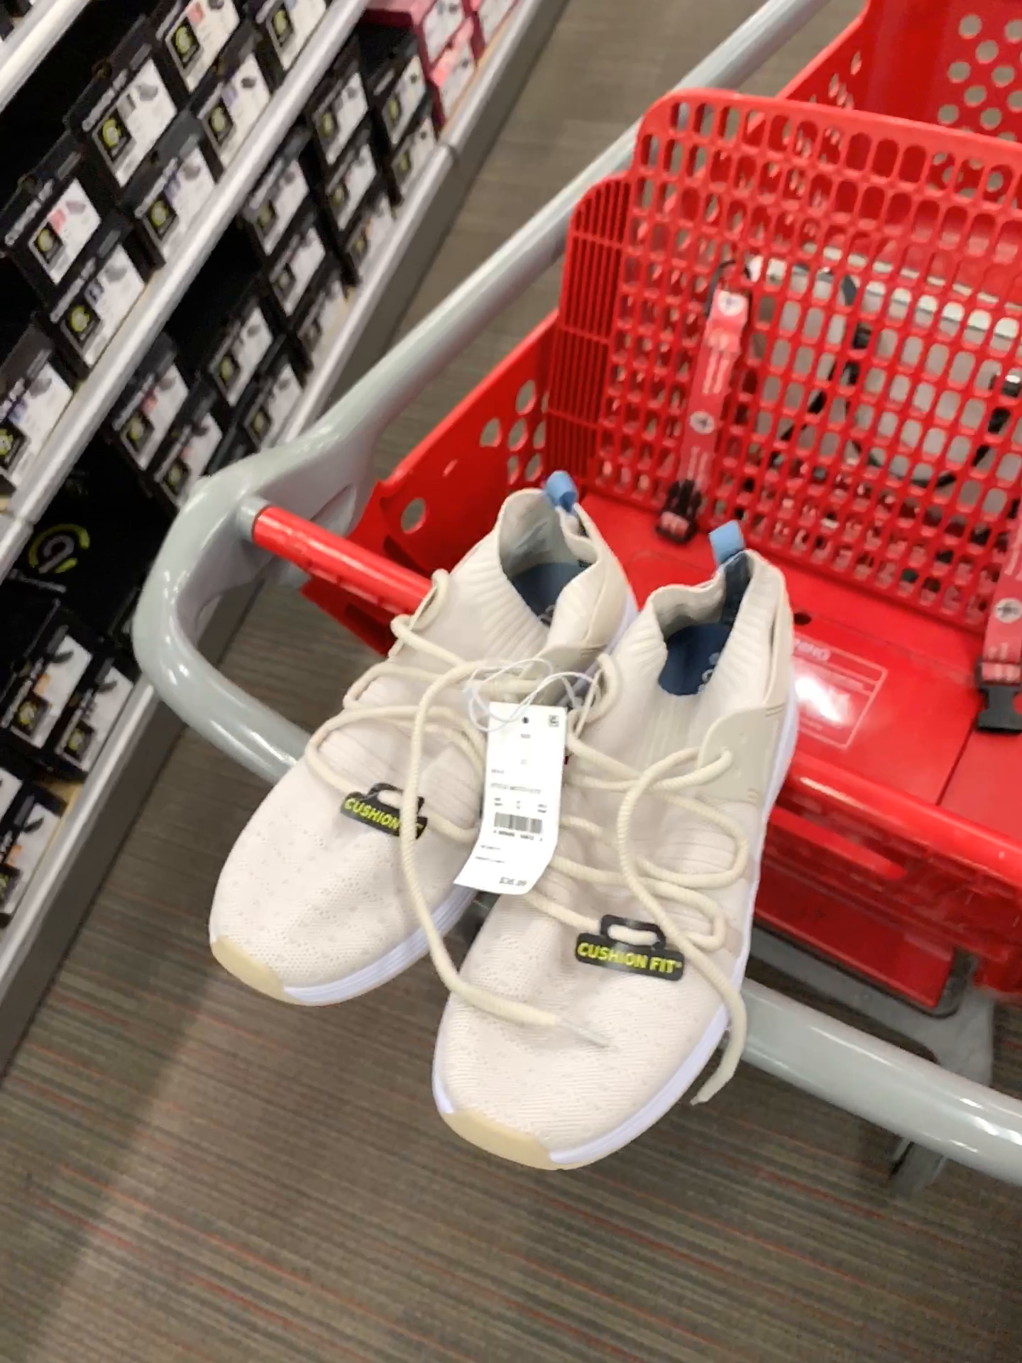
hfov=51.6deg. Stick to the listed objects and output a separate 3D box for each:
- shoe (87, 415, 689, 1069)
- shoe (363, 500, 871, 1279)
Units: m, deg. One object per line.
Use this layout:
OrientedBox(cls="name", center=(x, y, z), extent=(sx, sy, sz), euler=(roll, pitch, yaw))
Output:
OrientedBox(cls="shoe", center=(-0.035, 0.011, 0.489), extent=(0.110, 0.110, 0.280), euler=(25, 54, 20))
OrientedBox(cls="shoe", center=(0.059, 0.067, 0.439), extent=(0.110, 0.110, 0.280), euler=(14, 54, 17))
